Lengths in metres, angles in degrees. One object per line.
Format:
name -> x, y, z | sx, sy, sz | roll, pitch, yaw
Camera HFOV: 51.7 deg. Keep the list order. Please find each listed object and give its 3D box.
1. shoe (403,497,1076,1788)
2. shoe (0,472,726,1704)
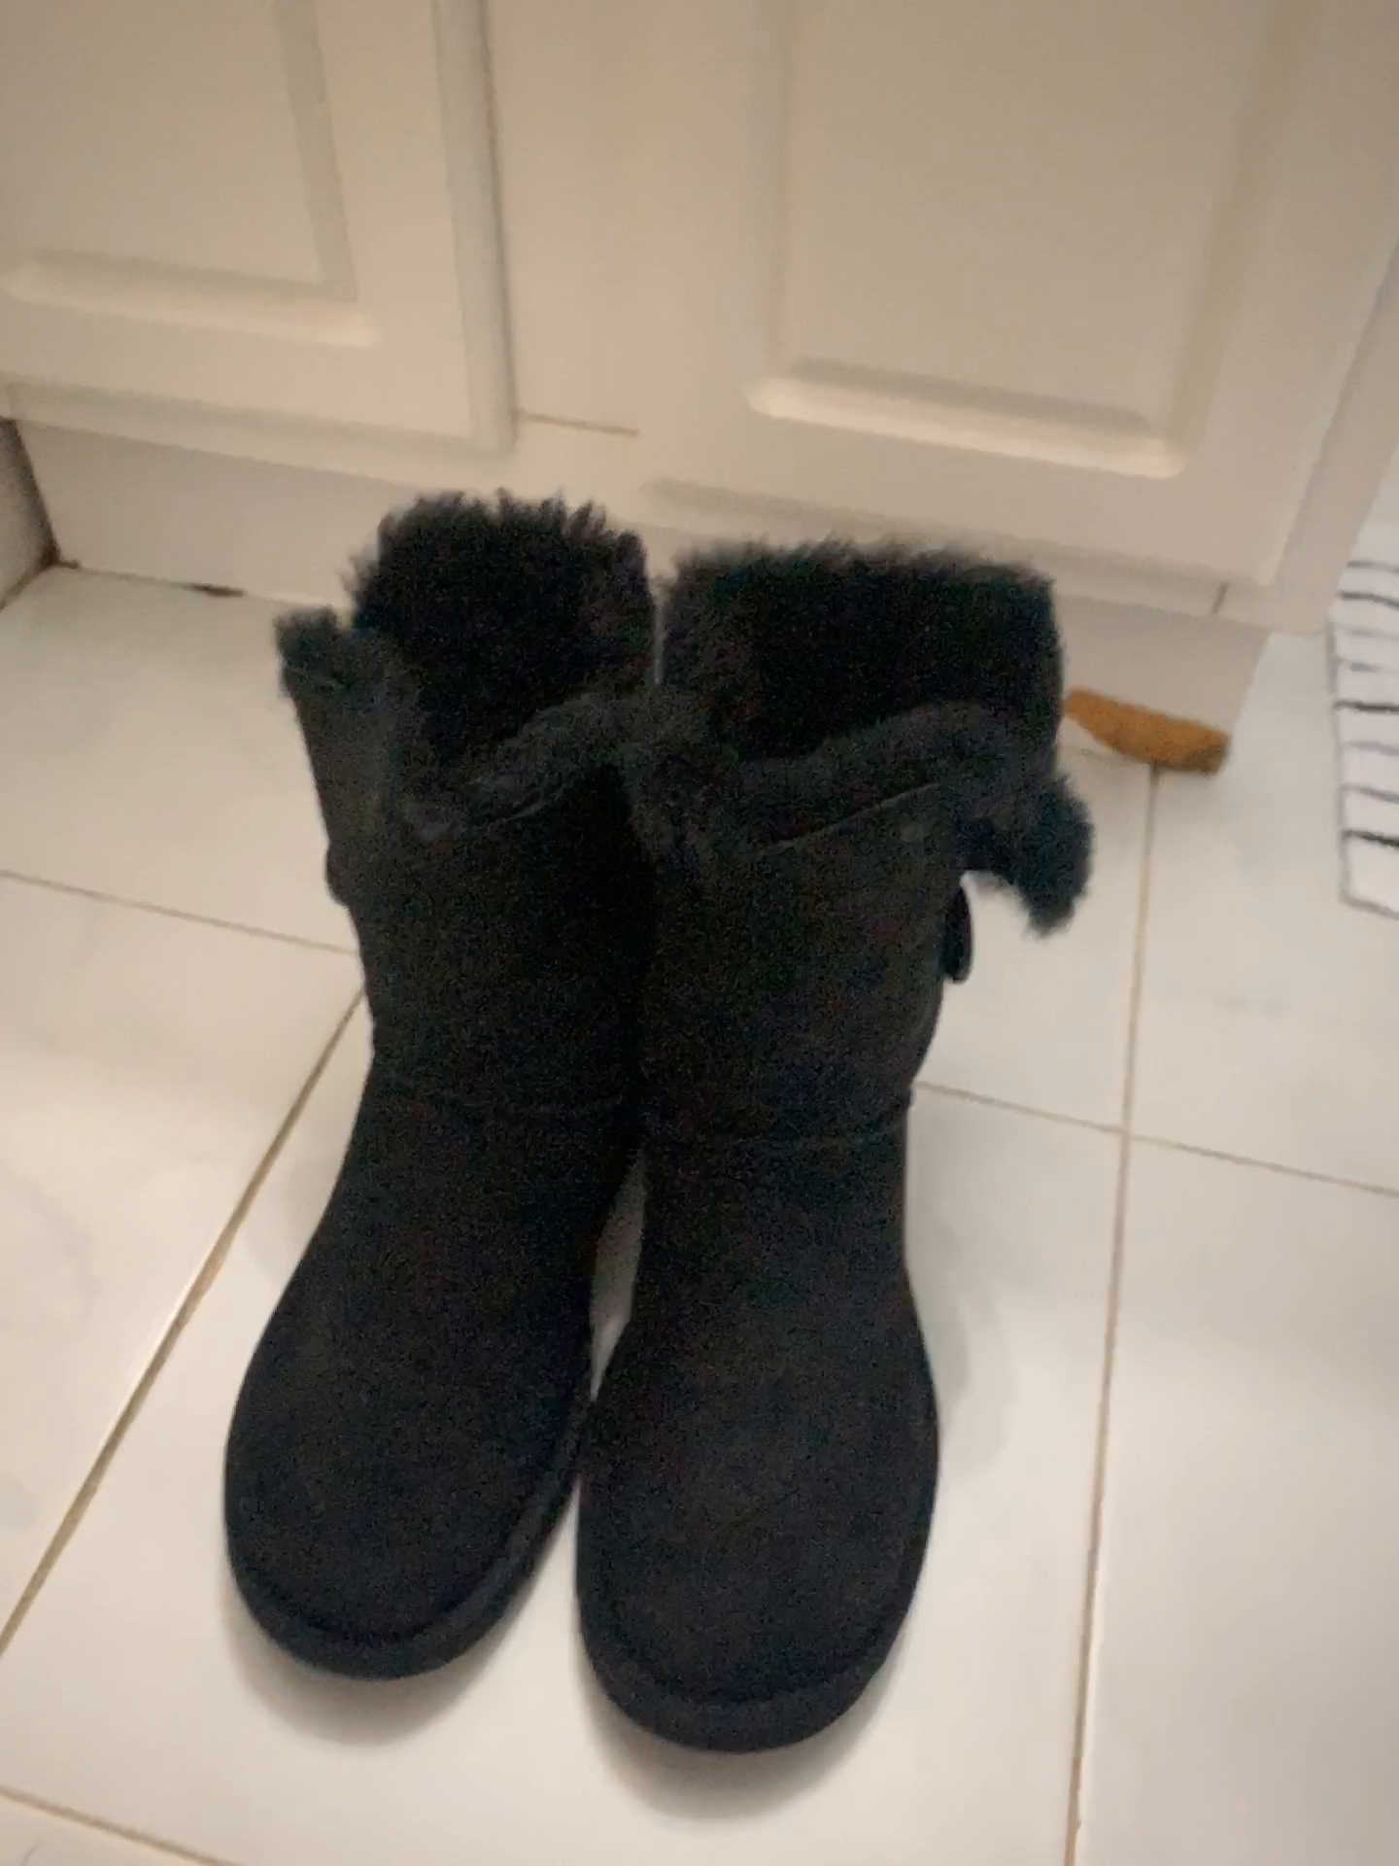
shoe -> 0.024, 0.046, 0.397 | 0.110, 0.189, 0.281 | 8, 49, 4
shoe -> -0.071, 0.028, 0.408 | 0.120, 0.169, 0.291 | 6, 49, 3
